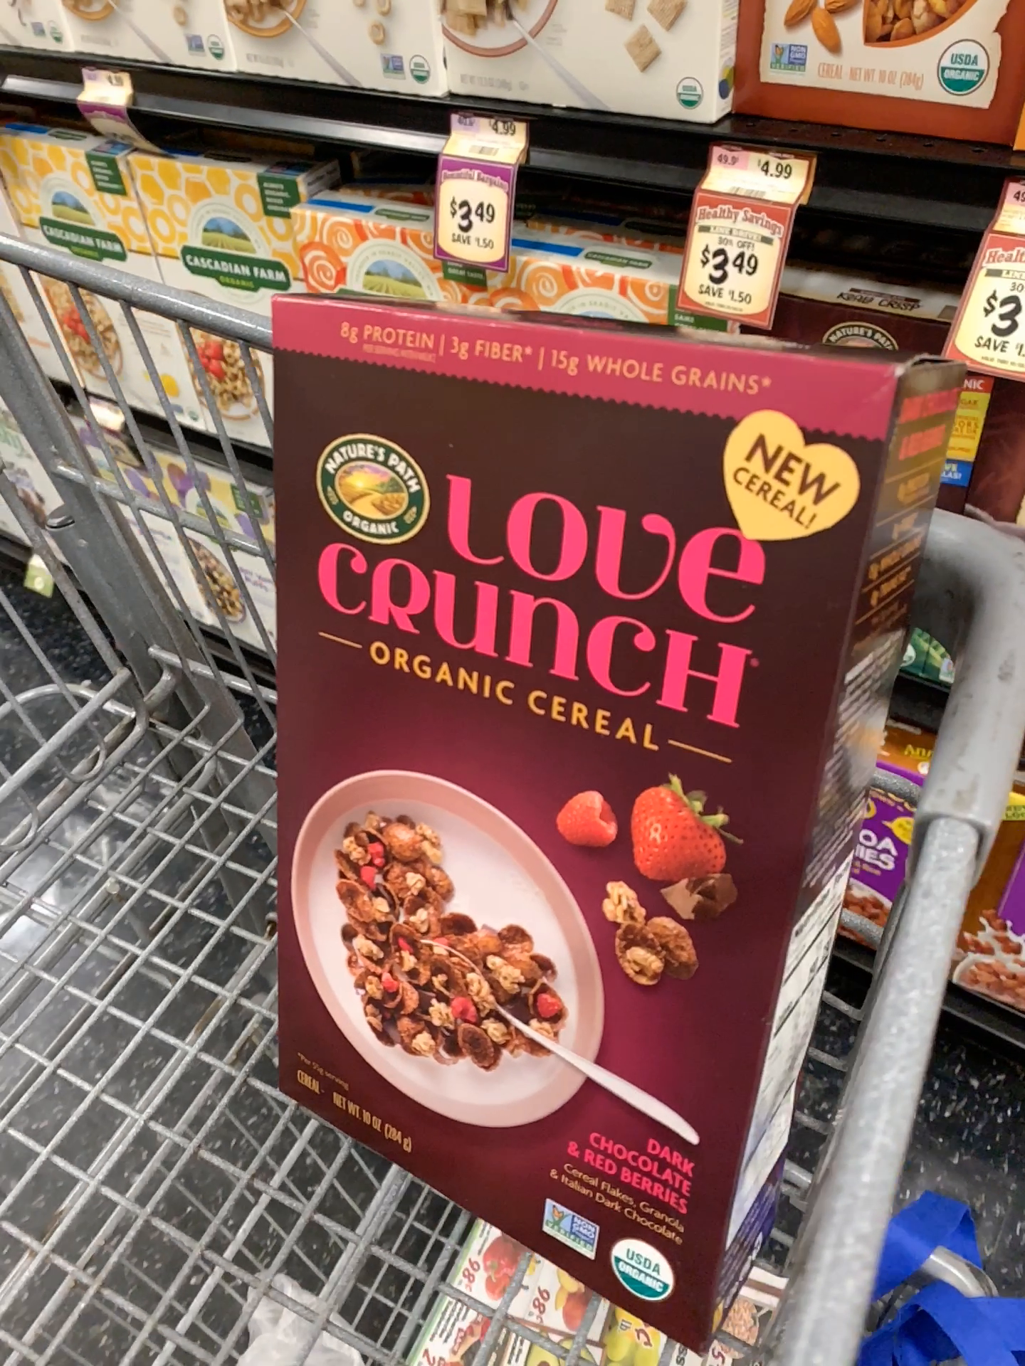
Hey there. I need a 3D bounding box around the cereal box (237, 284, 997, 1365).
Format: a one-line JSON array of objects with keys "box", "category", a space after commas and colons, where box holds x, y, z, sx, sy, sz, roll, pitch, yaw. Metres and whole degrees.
[{"box": [0.009, 0.033, 0.283, 0.160, 0.249, 0.060, 18, 26, 29], "category": "cereal box"}]
